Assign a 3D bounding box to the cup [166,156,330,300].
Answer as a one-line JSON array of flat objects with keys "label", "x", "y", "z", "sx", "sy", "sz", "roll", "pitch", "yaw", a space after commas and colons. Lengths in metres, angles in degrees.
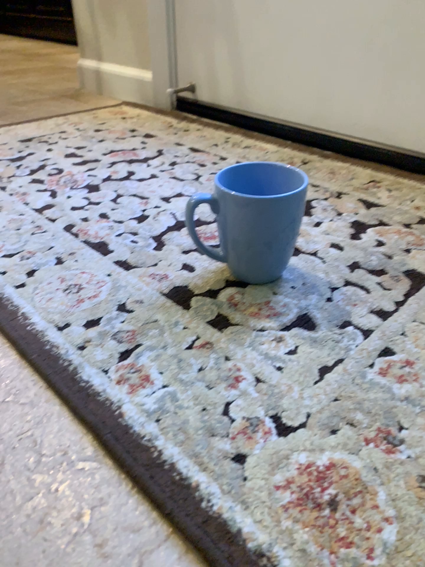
[{"label": "cup", "x": 0.028, "y": -0.058, "z": 0.416, "sx": 0.120, "sy": 0.089, "sz": 0.091, "roll": -11, "pitch": 35, "yaw": -16}]
